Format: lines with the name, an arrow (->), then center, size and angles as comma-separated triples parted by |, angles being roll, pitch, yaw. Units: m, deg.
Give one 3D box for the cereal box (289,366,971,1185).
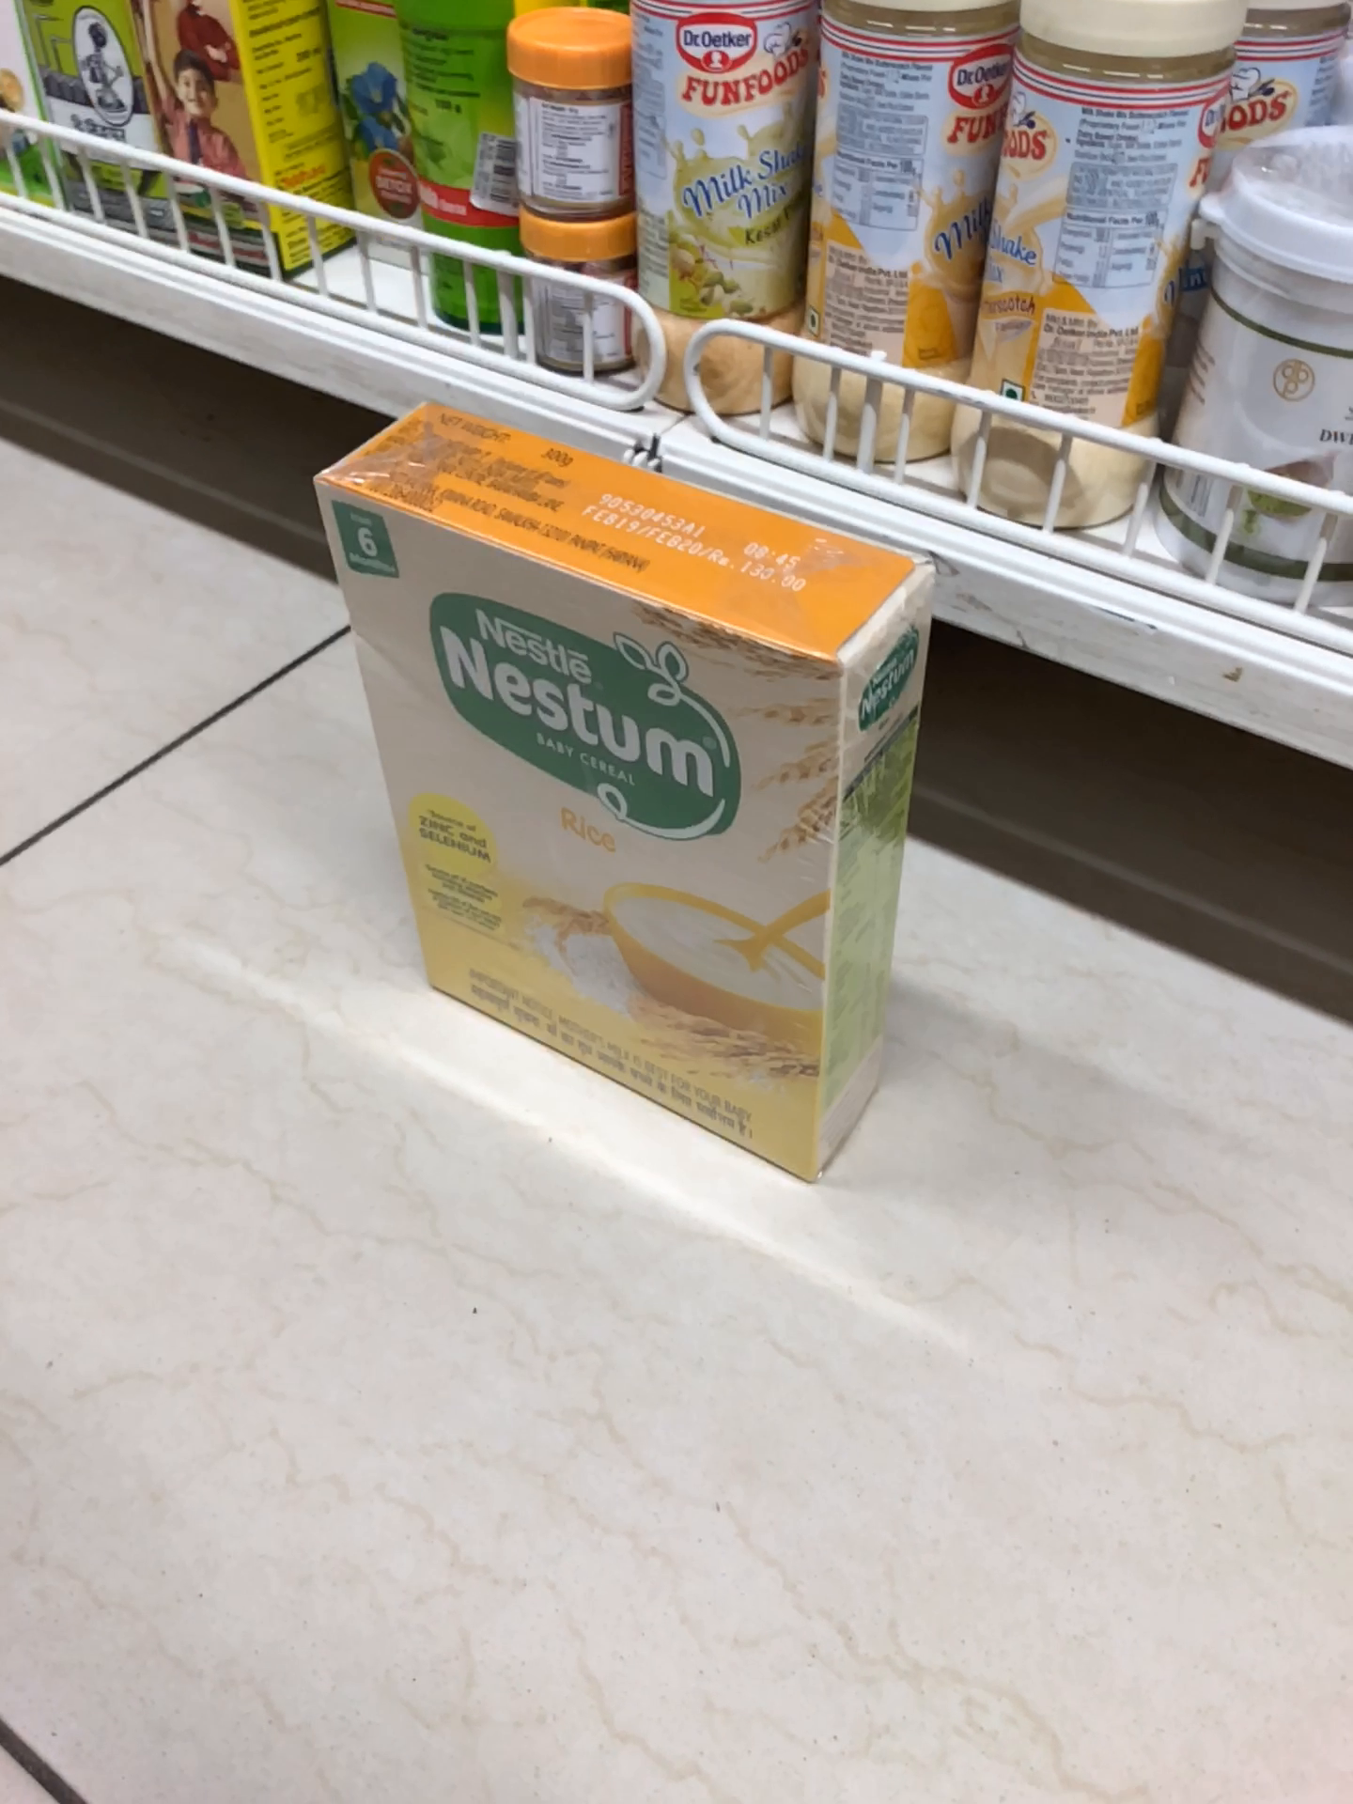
cereal box -> -0.013, -0.030, 0.418 | 0.160, 0.189, 0.050 | 24, 50, 24
